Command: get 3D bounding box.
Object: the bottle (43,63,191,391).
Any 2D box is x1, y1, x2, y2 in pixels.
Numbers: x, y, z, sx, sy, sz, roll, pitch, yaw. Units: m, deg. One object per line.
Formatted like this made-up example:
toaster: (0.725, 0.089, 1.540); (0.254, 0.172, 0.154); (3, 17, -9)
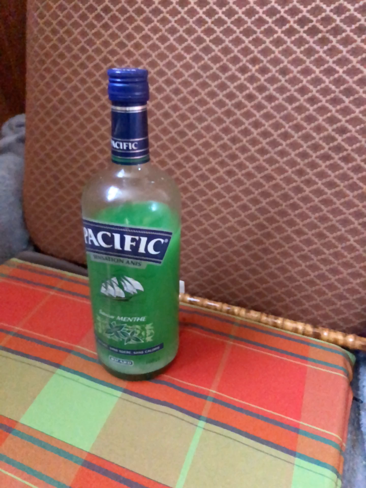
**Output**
bottle: (-0.046, -0.007, 0.378); (0.090, 0.289, 0.080); (6, 27, 12)
